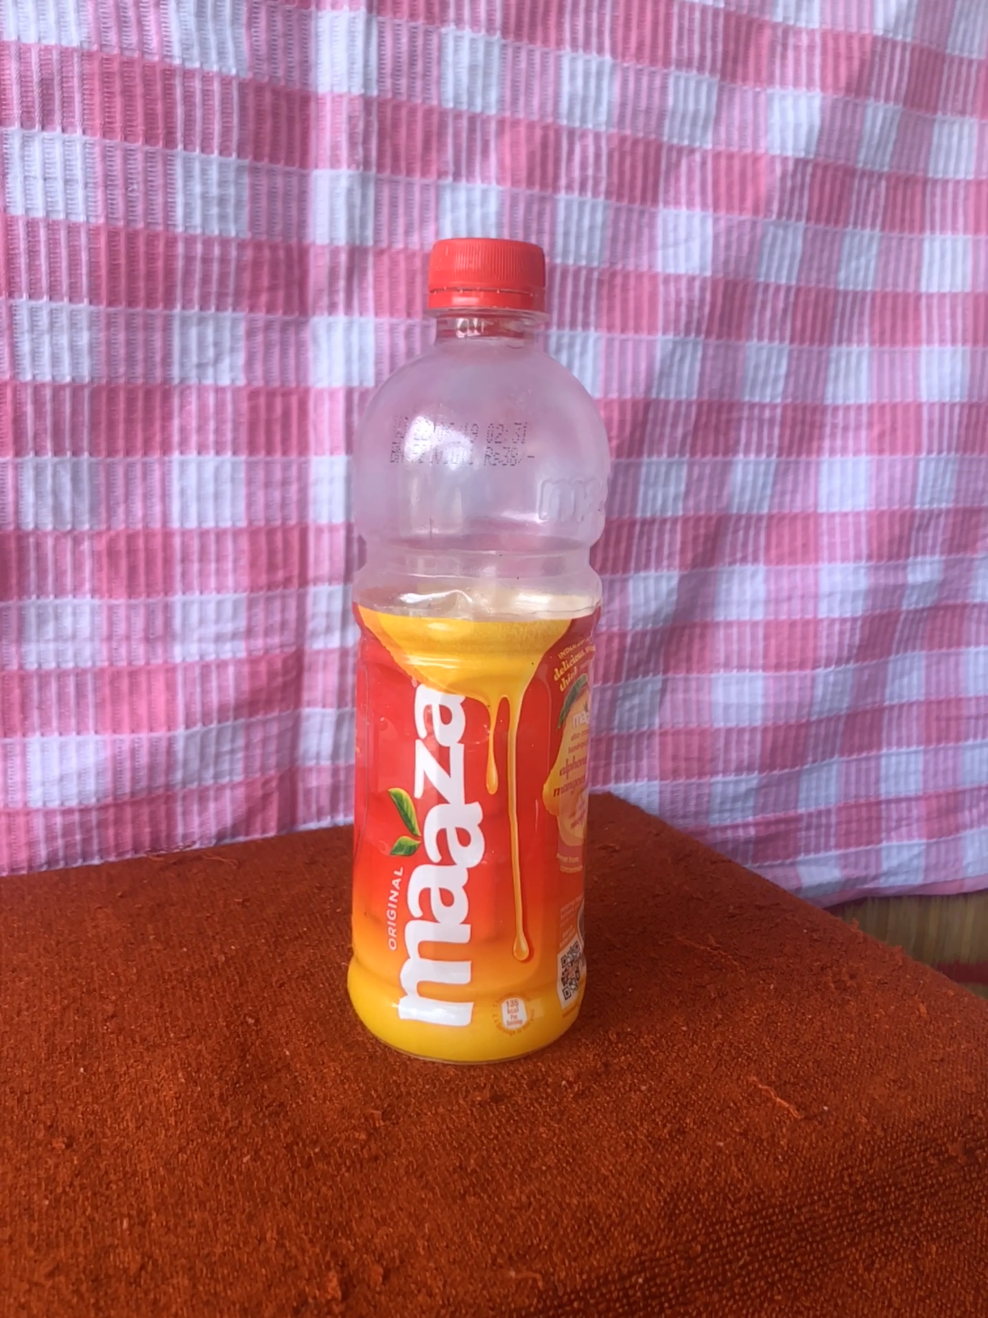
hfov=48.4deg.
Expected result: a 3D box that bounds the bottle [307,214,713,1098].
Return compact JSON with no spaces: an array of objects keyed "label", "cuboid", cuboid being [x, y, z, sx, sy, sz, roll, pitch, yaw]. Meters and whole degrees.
[{"label":"bottle","cuboid":[0.001,0.000,0.296,0.080,0.209,0.070,5,13,2]}]
